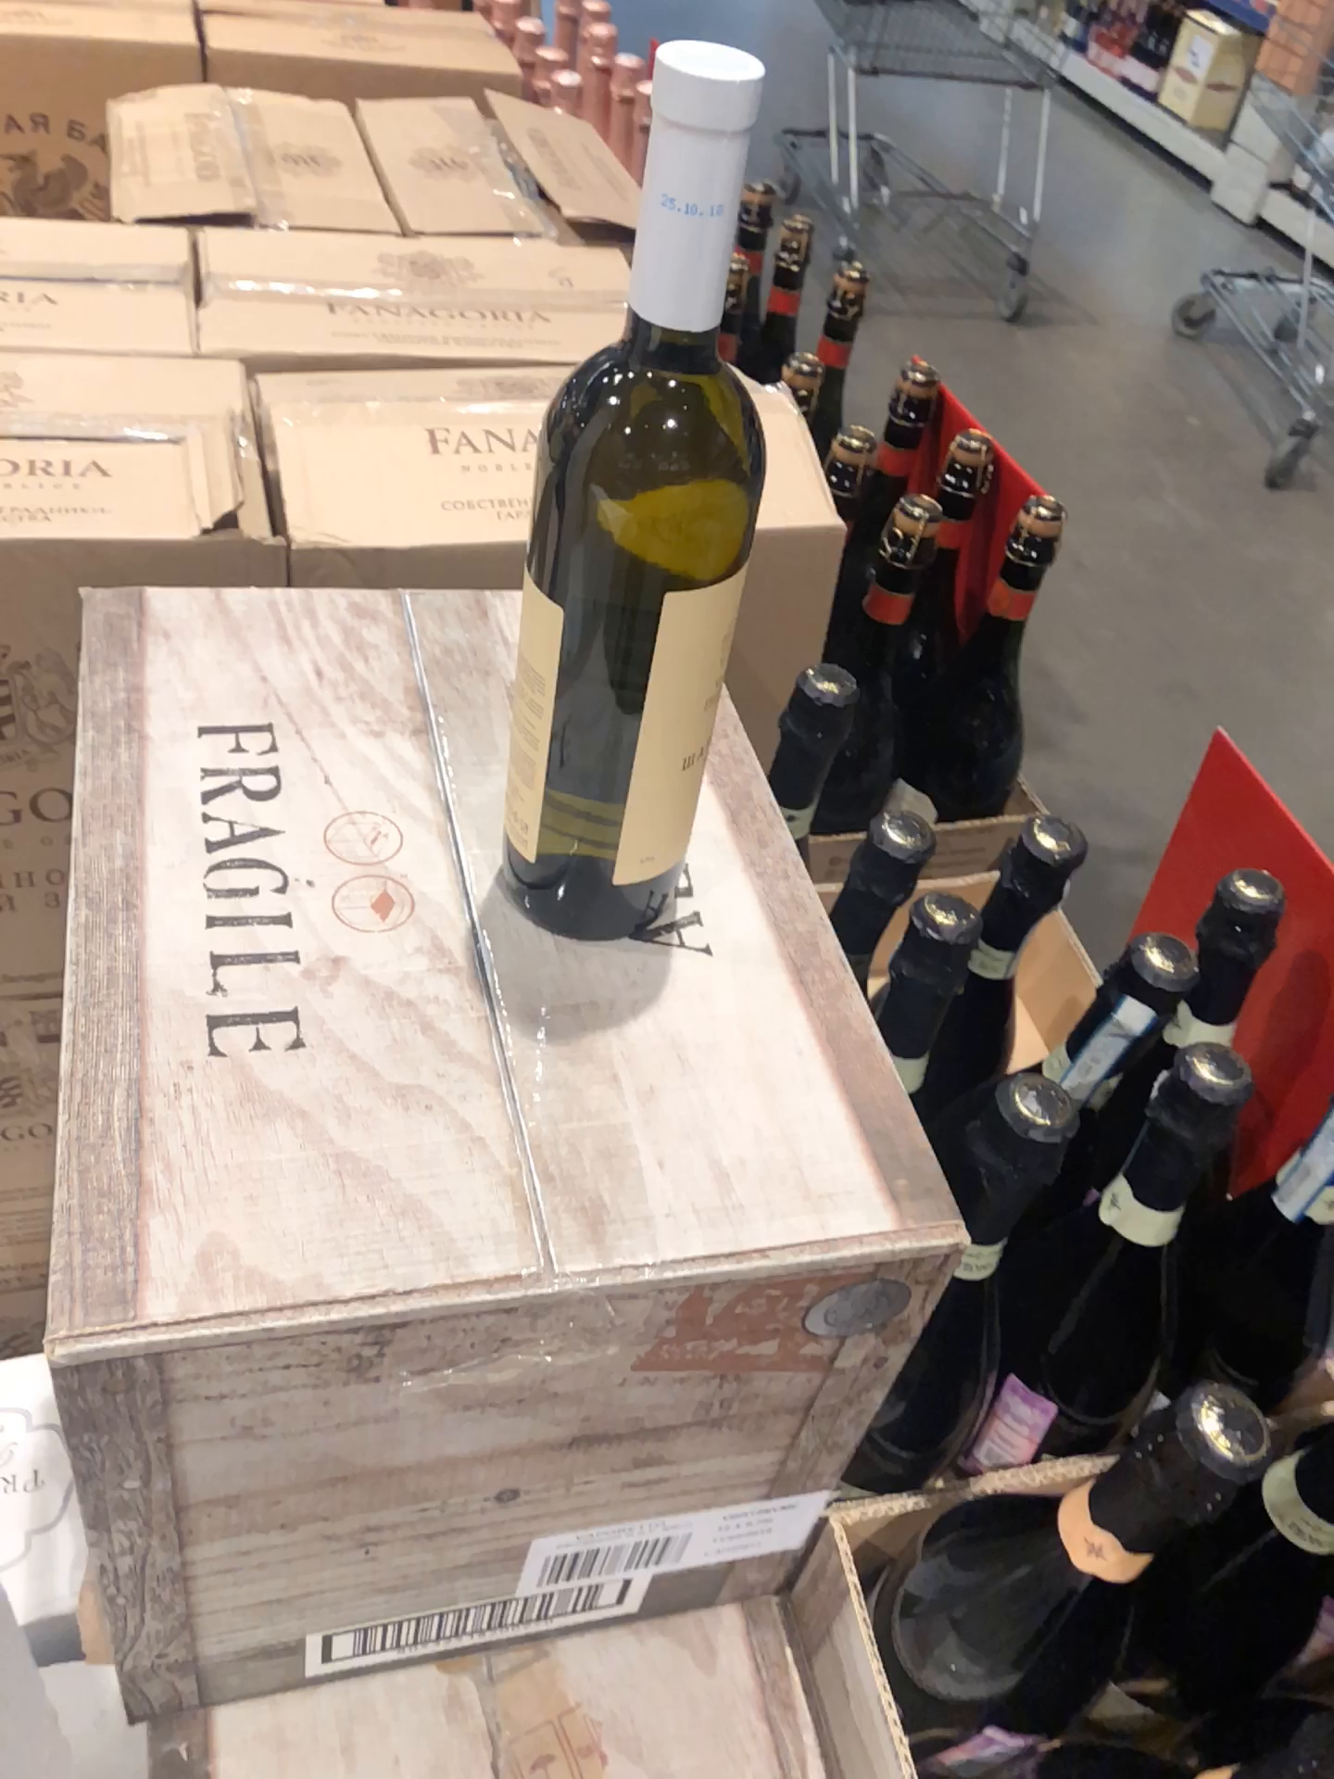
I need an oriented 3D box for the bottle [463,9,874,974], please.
[{"bbox_3d":[-0.009,-0.115,0.501,0.080,0.298,0.091,14,42,3],"label":"bottle"}]
